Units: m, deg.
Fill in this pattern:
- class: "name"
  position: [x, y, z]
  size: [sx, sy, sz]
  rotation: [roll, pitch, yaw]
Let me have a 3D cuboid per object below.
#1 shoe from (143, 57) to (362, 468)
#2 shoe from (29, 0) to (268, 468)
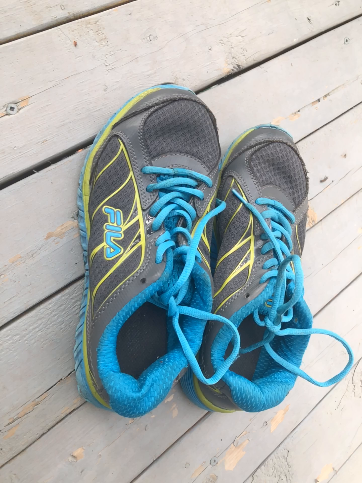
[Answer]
- class: "shoe"
  position: [0.066, 0.019, 0.331]
  size: [0.110, 0.090, 0.280]
  rotation: [15, 84, -23]
- class: "shoe"
  position: [-0.035, -0.004, 0.321]
  size: [0.110, 0.130, 0.290]
  rotation: [11, 86, -23]
